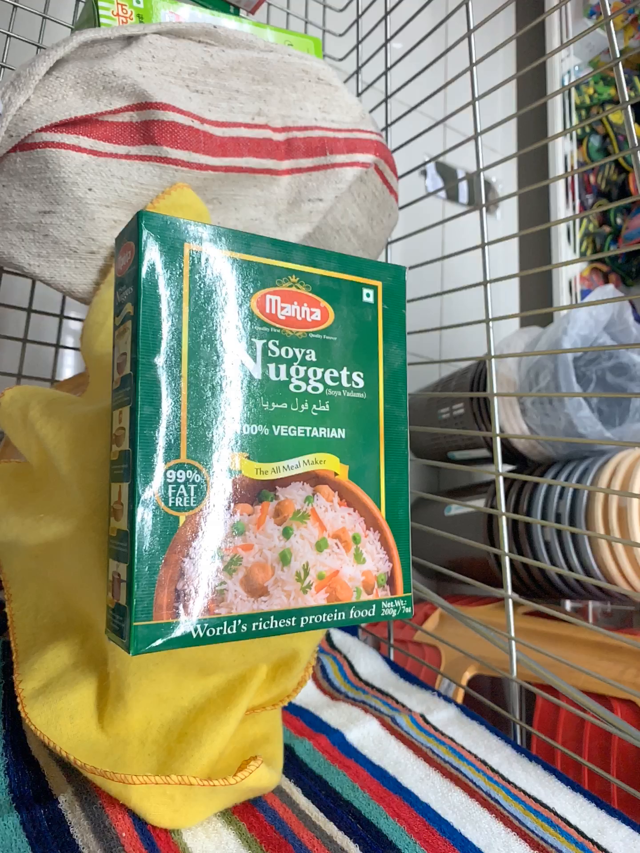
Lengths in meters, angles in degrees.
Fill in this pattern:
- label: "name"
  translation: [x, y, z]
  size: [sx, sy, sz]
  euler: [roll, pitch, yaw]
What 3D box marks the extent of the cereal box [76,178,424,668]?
- label: "cereal box"
  translation: [-0.029, 0.002, 0.335]
  size: [0.160, 0.060, 0.200]
  euler: [4, 83, -31]
